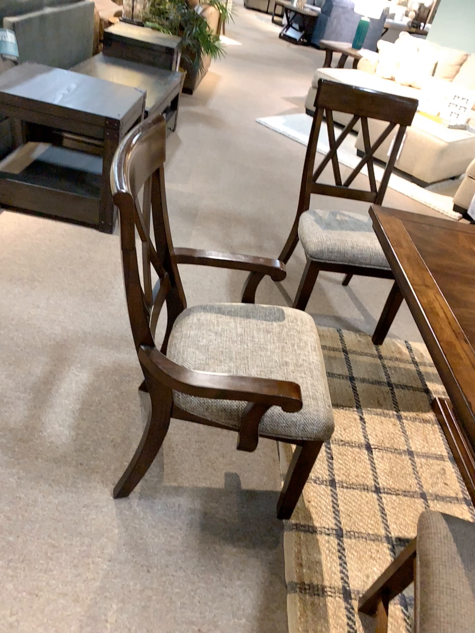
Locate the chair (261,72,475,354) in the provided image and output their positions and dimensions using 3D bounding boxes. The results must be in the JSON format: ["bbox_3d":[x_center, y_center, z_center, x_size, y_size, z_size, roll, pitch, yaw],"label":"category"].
[{"bbox_3d":[0.497,-0.422,2.057,0.505,0.916,0.647,7,37,-12],"label":"chair"}]

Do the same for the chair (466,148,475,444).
[{"bbox_3d":[1.465,-0.073,1.942,0.465,0.916,0.647,11,36,-5],"label":"chair"}]

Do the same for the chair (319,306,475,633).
[{"bbox_3d":[0.542,0.605,0.704,0.505,0.936,0.647,18,36,6],"label":"chair"}]

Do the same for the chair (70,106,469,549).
[{"bbox_3d":[-0.016,0.062,1.254,0.654,0.896,0.548,11,36,-5],"label":"chair"}]
